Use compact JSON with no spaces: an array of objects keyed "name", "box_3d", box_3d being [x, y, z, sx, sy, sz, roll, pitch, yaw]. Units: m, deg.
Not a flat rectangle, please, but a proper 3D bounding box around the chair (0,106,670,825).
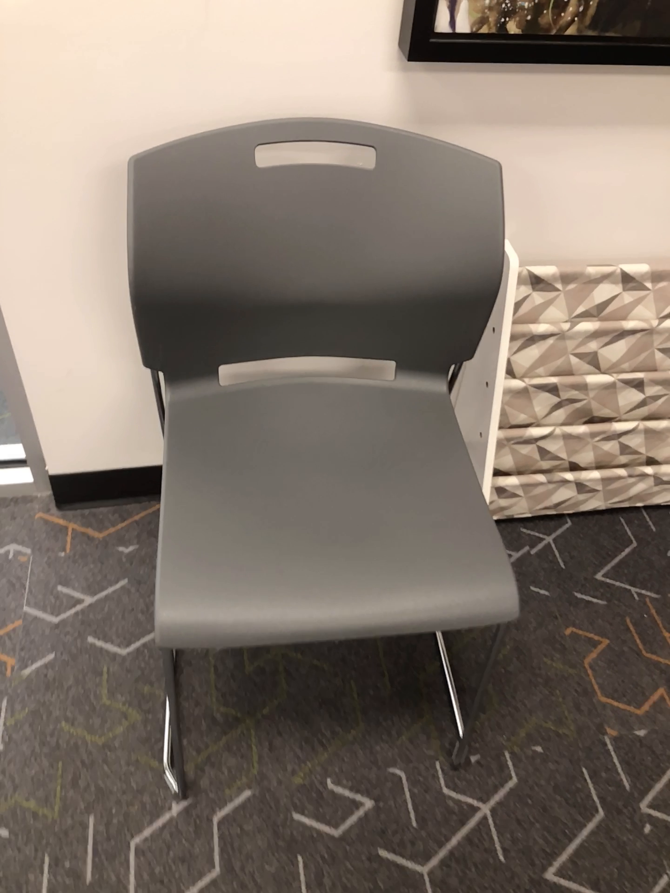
[{"name":"chair","box_3d":[-0.032,0.025,1.059,0.580,0.735,0.675,-3,46,-8]}]
